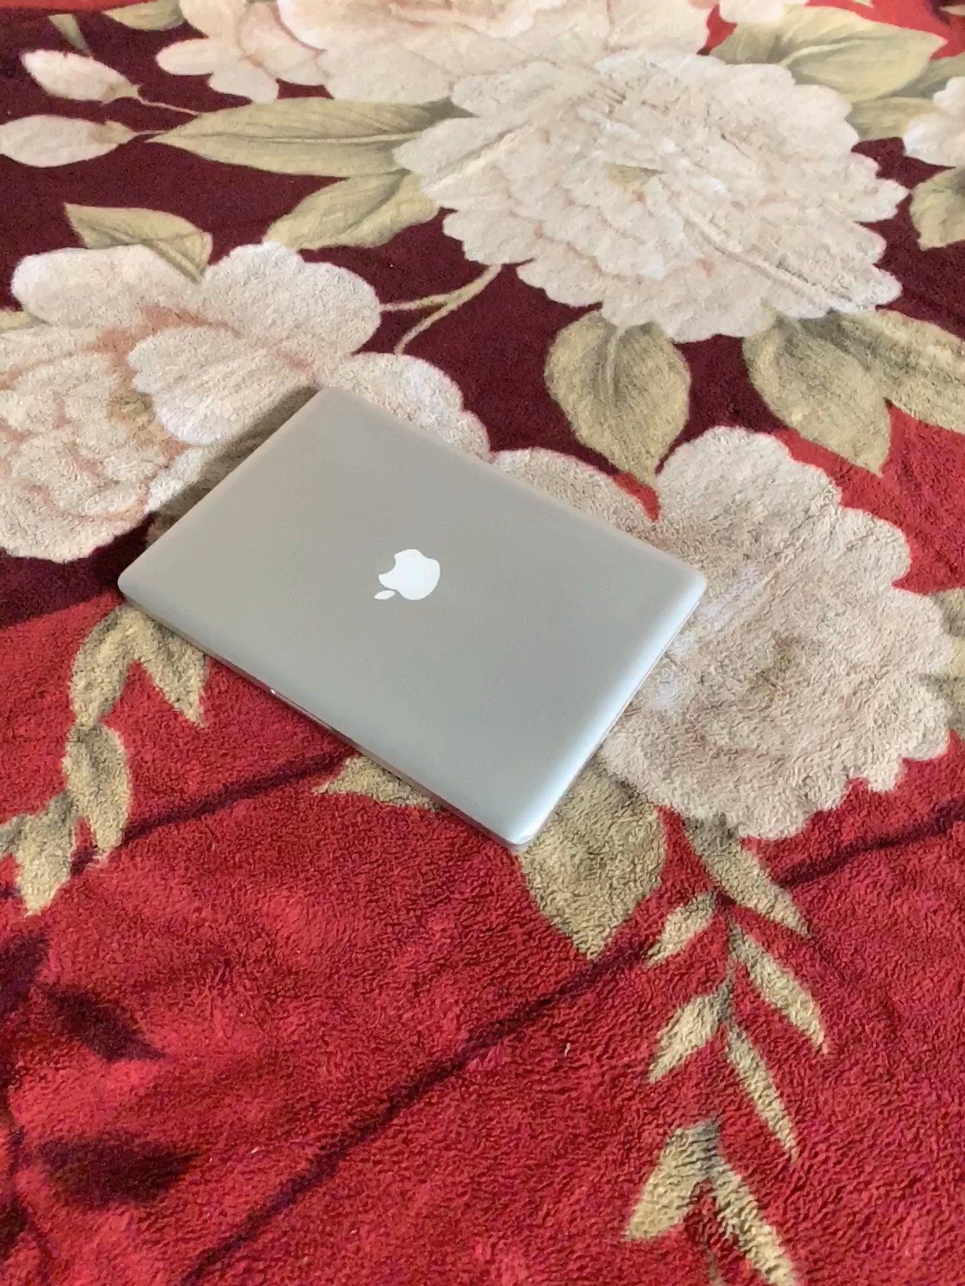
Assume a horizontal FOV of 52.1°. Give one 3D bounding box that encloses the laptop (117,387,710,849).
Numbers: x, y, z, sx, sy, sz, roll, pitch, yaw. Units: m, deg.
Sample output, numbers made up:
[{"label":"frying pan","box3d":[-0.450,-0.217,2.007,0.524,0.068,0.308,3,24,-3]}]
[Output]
[{"label":"laptop","box3d":[-0.045,-0.037,0.622,0.310,0.001,0.210,30,64,18]}]
